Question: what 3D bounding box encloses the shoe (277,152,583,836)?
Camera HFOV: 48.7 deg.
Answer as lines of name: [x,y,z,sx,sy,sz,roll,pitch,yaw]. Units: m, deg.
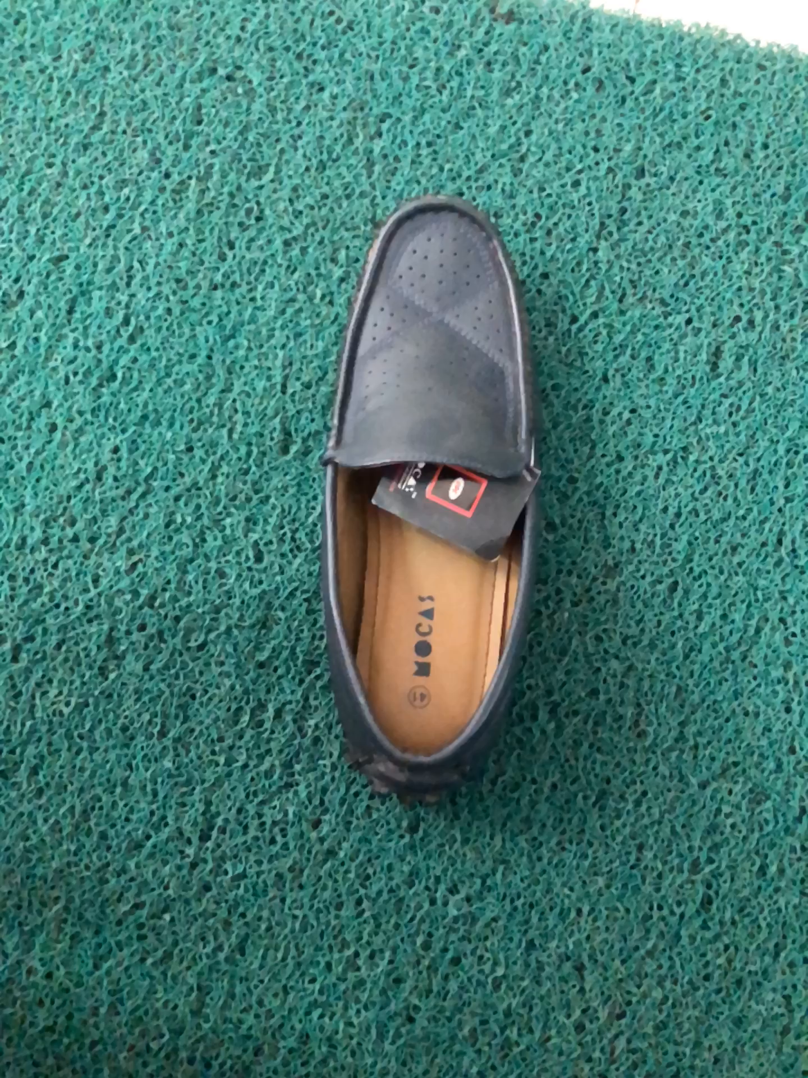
shoe: [0.015,-0.022,0.400,0.100,0.070,0.280,6,78,-1]
